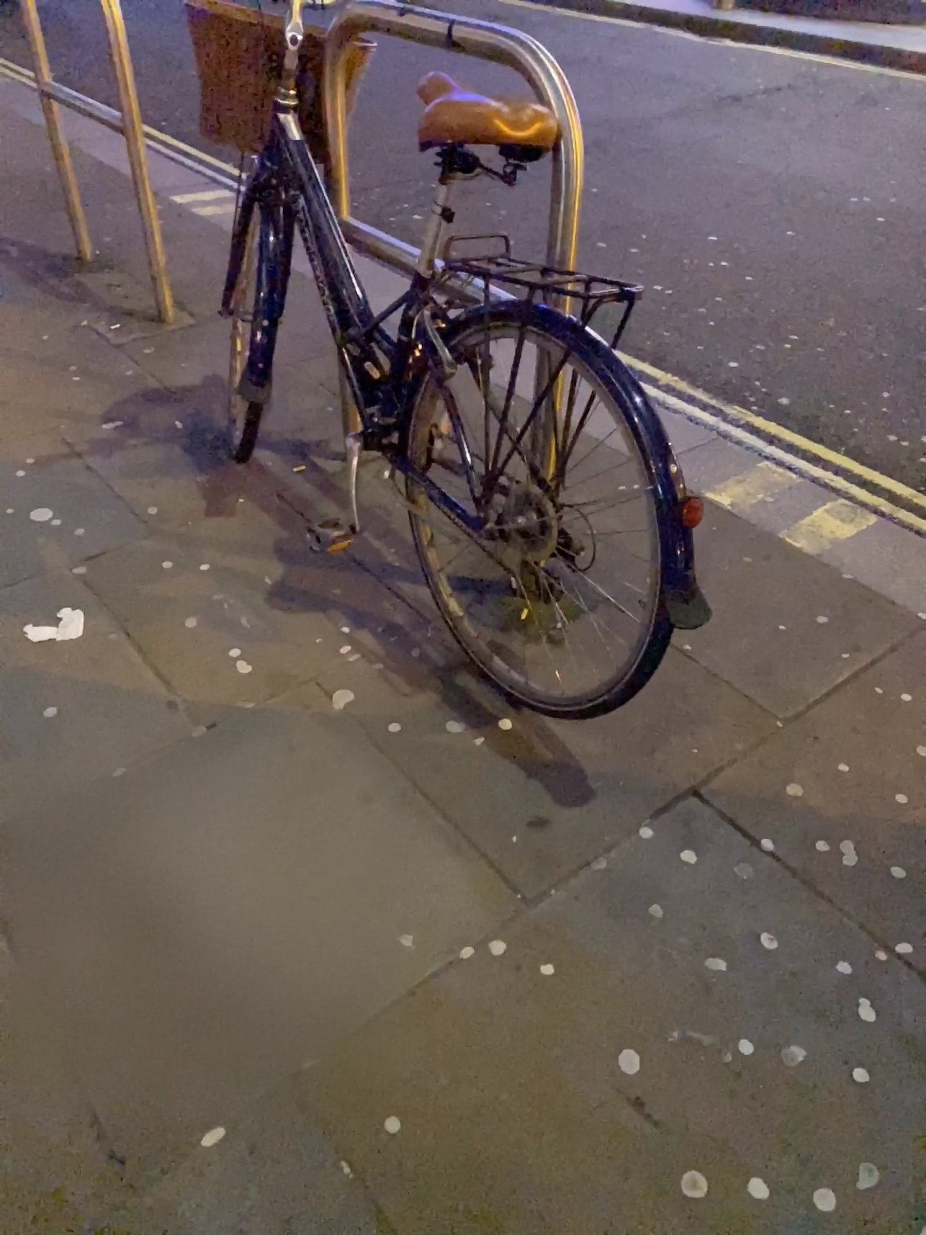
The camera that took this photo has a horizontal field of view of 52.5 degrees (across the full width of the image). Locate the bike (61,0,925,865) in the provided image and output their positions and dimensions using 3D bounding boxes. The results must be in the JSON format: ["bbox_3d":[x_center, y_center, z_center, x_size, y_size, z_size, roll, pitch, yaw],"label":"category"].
[{"bbox_3d":[-0.115,-0.583,1.835,0.661,1.063,1.716,-21,43,-25],"label":"bike"}]
